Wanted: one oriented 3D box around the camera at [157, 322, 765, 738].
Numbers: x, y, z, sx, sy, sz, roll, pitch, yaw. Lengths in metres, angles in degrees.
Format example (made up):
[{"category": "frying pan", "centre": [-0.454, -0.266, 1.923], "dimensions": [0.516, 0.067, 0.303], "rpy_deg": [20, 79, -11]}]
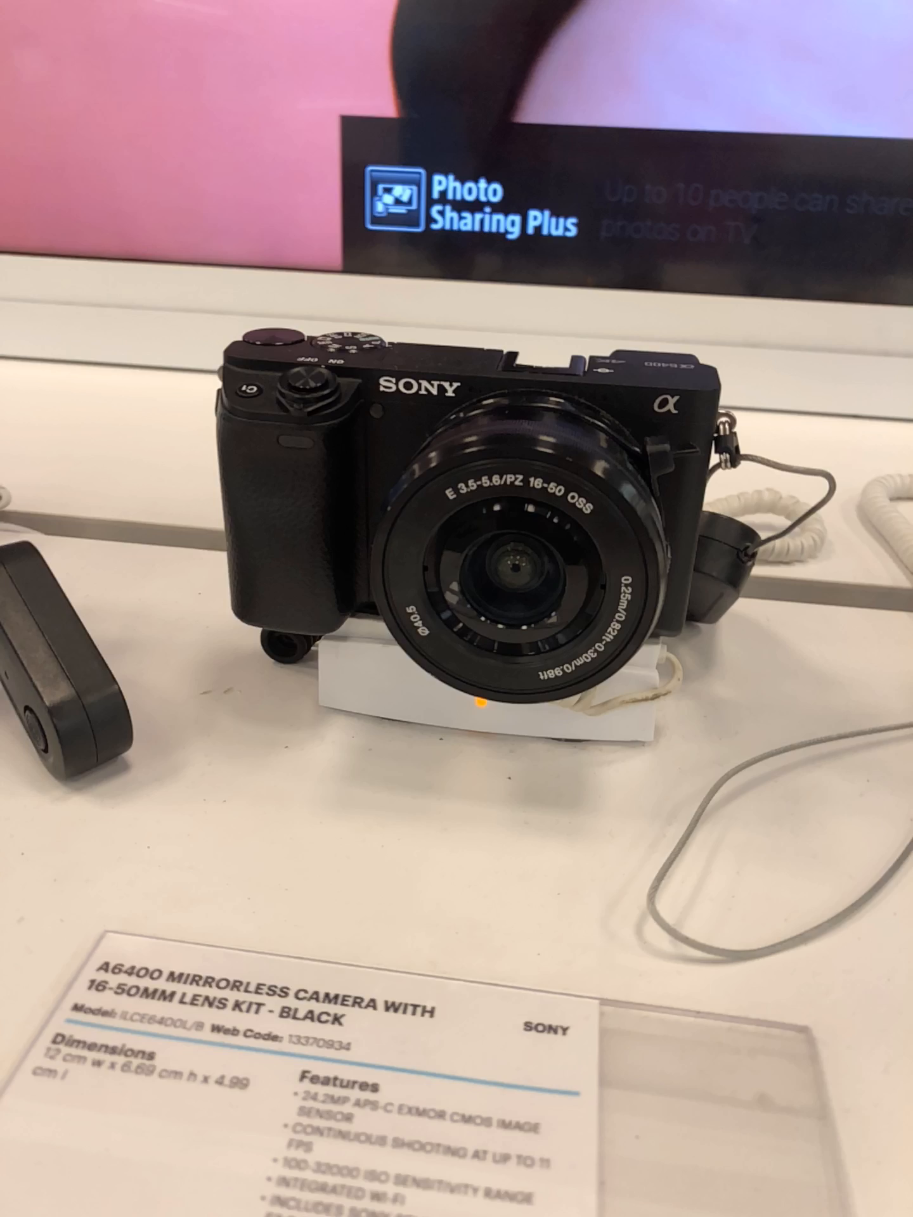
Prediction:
[{"category": "camera", "centre": [0.003, -0.023, 0.246], "dimensions": [0.120, 0.070, 0.070], "rpy_deg": [5, 27, 6]}]
